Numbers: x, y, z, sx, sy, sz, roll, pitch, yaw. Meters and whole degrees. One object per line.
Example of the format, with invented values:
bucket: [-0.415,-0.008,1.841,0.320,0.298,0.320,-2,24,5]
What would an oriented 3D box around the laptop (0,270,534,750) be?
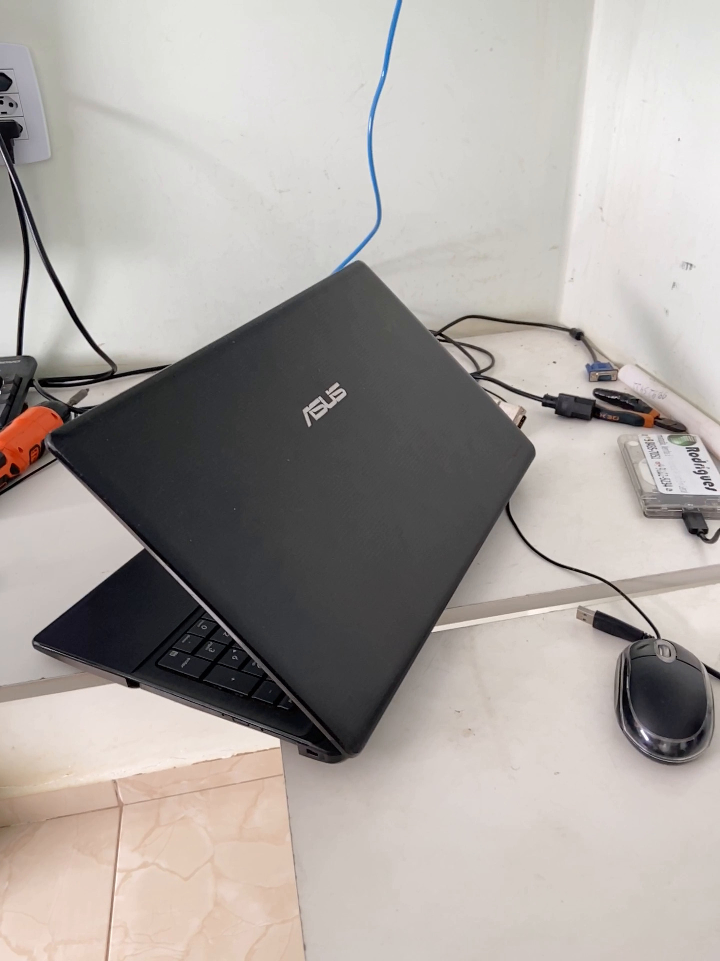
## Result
laptop: [-0.044,-0.028,0.581,0.247,0.166,0.378,11,34,26]
